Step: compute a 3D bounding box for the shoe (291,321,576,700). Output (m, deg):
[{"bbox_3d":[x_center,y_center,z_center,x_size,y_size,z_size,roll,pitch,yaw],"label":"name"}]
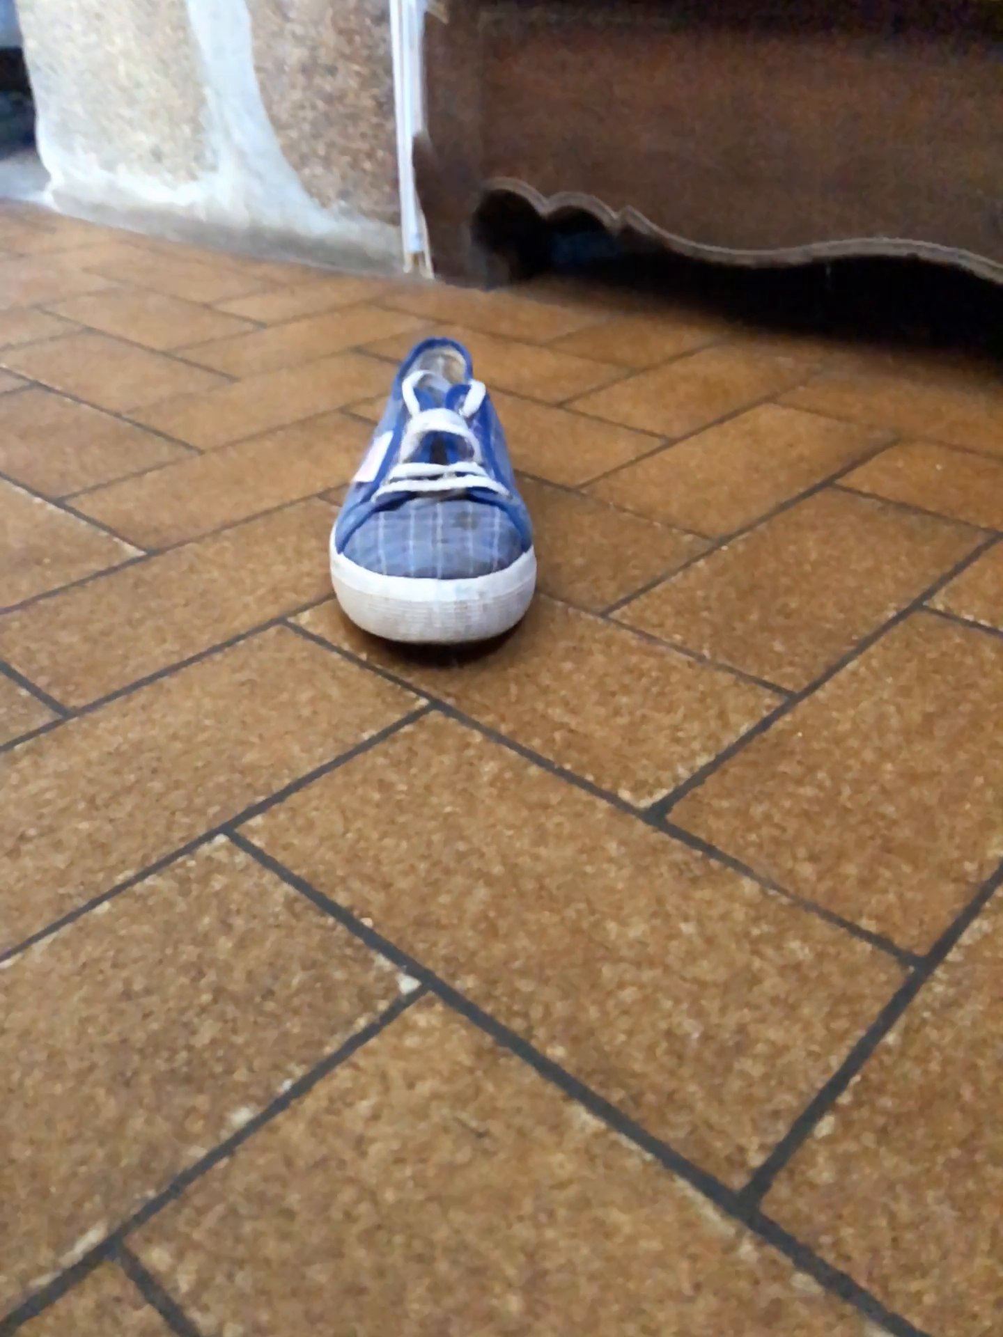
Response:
[{"bbox_3d":[-0.033,-0.088,0.513,0.100,0.079,0.241,-3,32,-4],"label":"shoe"}]
